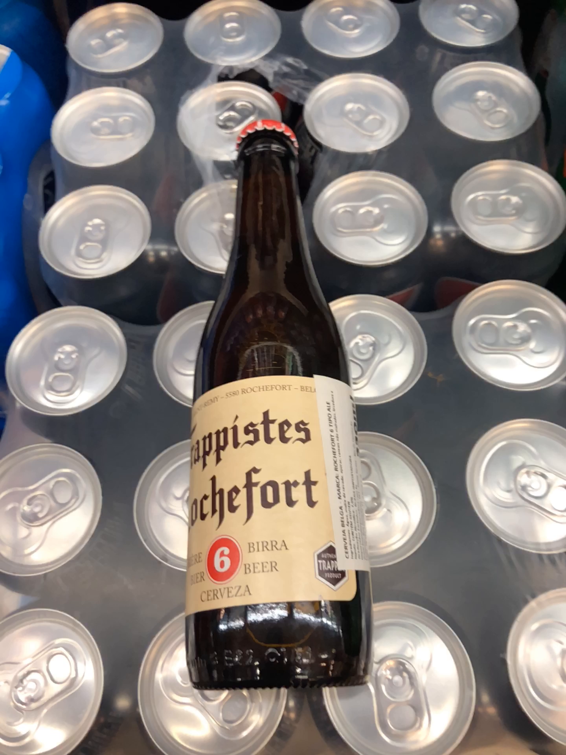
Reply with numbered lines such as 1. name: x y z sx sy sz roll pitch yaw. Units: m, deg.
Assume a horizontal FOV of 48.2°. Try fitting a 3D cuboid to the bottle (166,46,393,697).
1. bottle: -0.005 -0.017 0.239 0.060 0.050 0.241 -3 66 2
